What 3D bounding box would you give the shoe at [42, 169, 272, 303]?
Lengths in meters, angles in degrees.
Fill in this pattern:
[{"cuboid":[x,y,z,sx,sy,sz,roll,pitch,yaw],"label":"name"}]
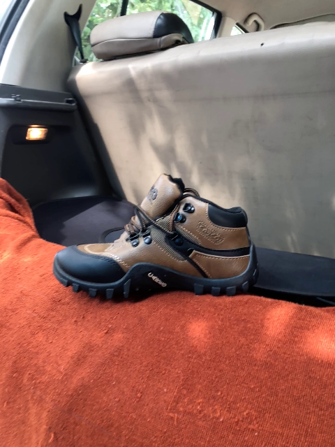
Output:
[{"cuboid":[-0.013,0.009,0.503,0.270,0.150,0.110,-1,14,-5],"label":"shoe"}]
